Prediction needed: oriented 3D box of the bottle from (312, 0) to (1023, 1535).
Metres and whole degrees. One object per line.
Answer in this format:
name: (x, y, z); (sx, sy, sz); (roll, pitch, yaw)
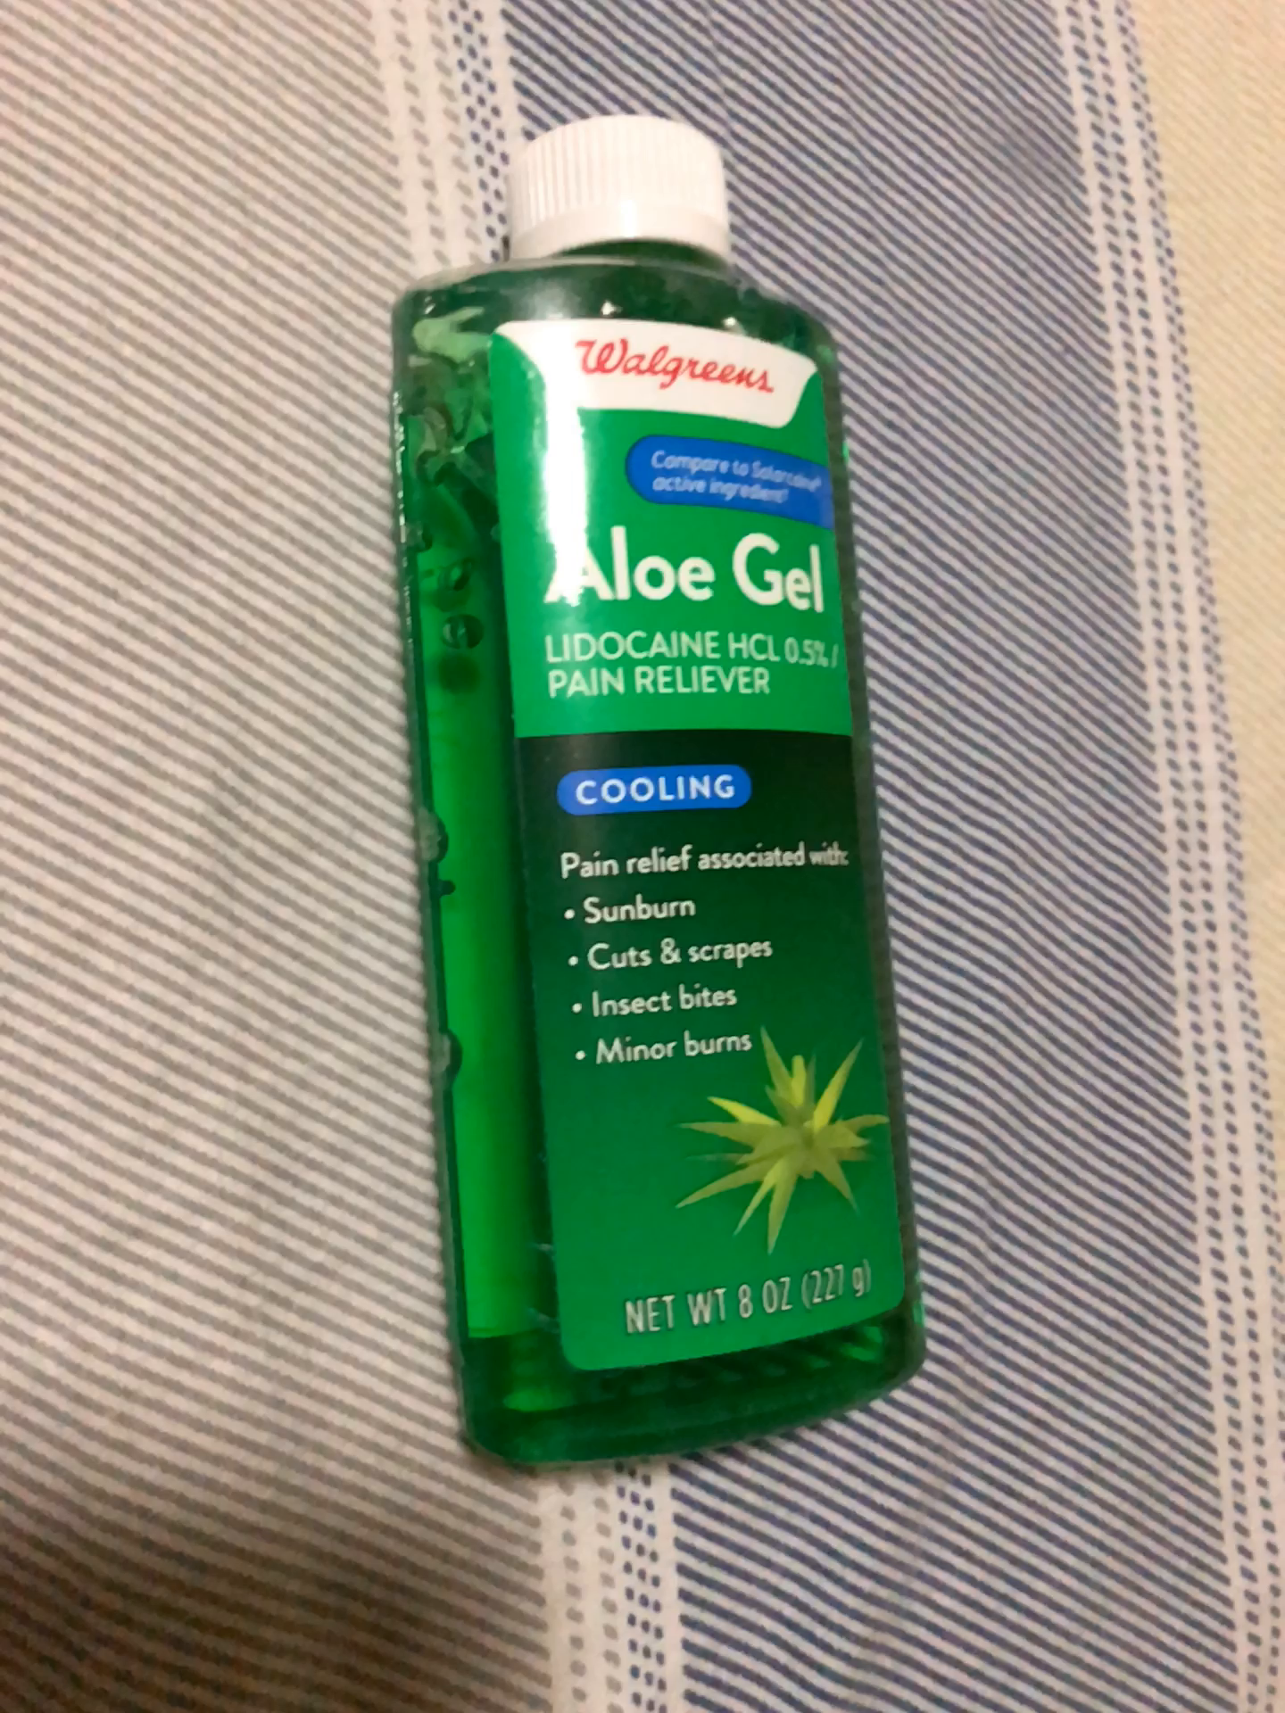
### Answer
bottle: (0.003, -0.014, 0.200); (0.080, 0.030, 0.180); (-2, 85, -29)
